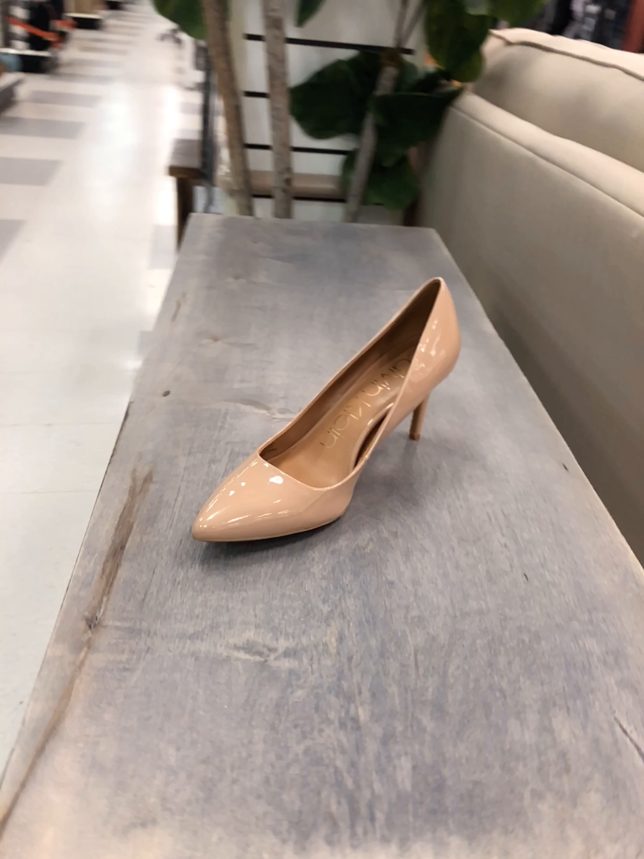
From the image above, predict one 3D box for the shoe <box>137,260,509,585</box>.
[{"bbox_3d":[0.011,-0.023,0.520,0.096,0.129,0.269,30,40,34],"label":"shoe"}]
